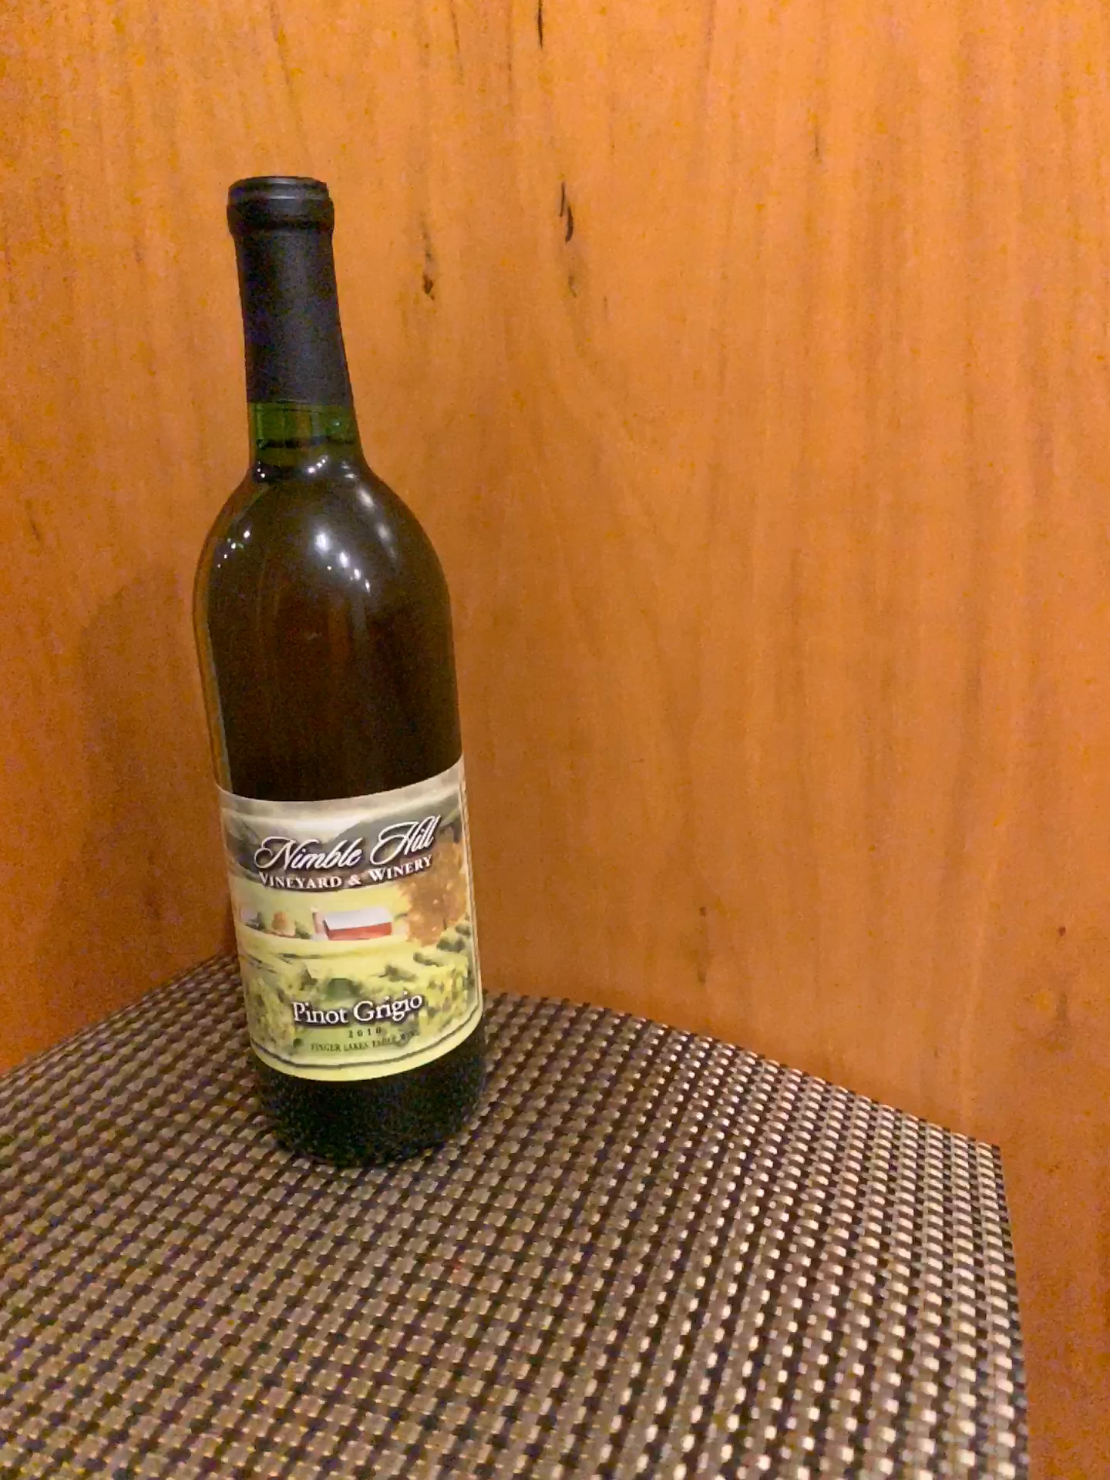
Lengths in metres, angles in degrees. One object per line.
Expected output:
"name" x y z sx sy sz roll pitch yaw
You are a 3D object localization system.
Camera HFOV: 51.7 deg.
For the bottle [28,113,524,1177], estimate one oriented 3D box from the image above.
"bottle" -0.064 -0.017 0.327 0.090 0.269 0.080 -2 15 4
